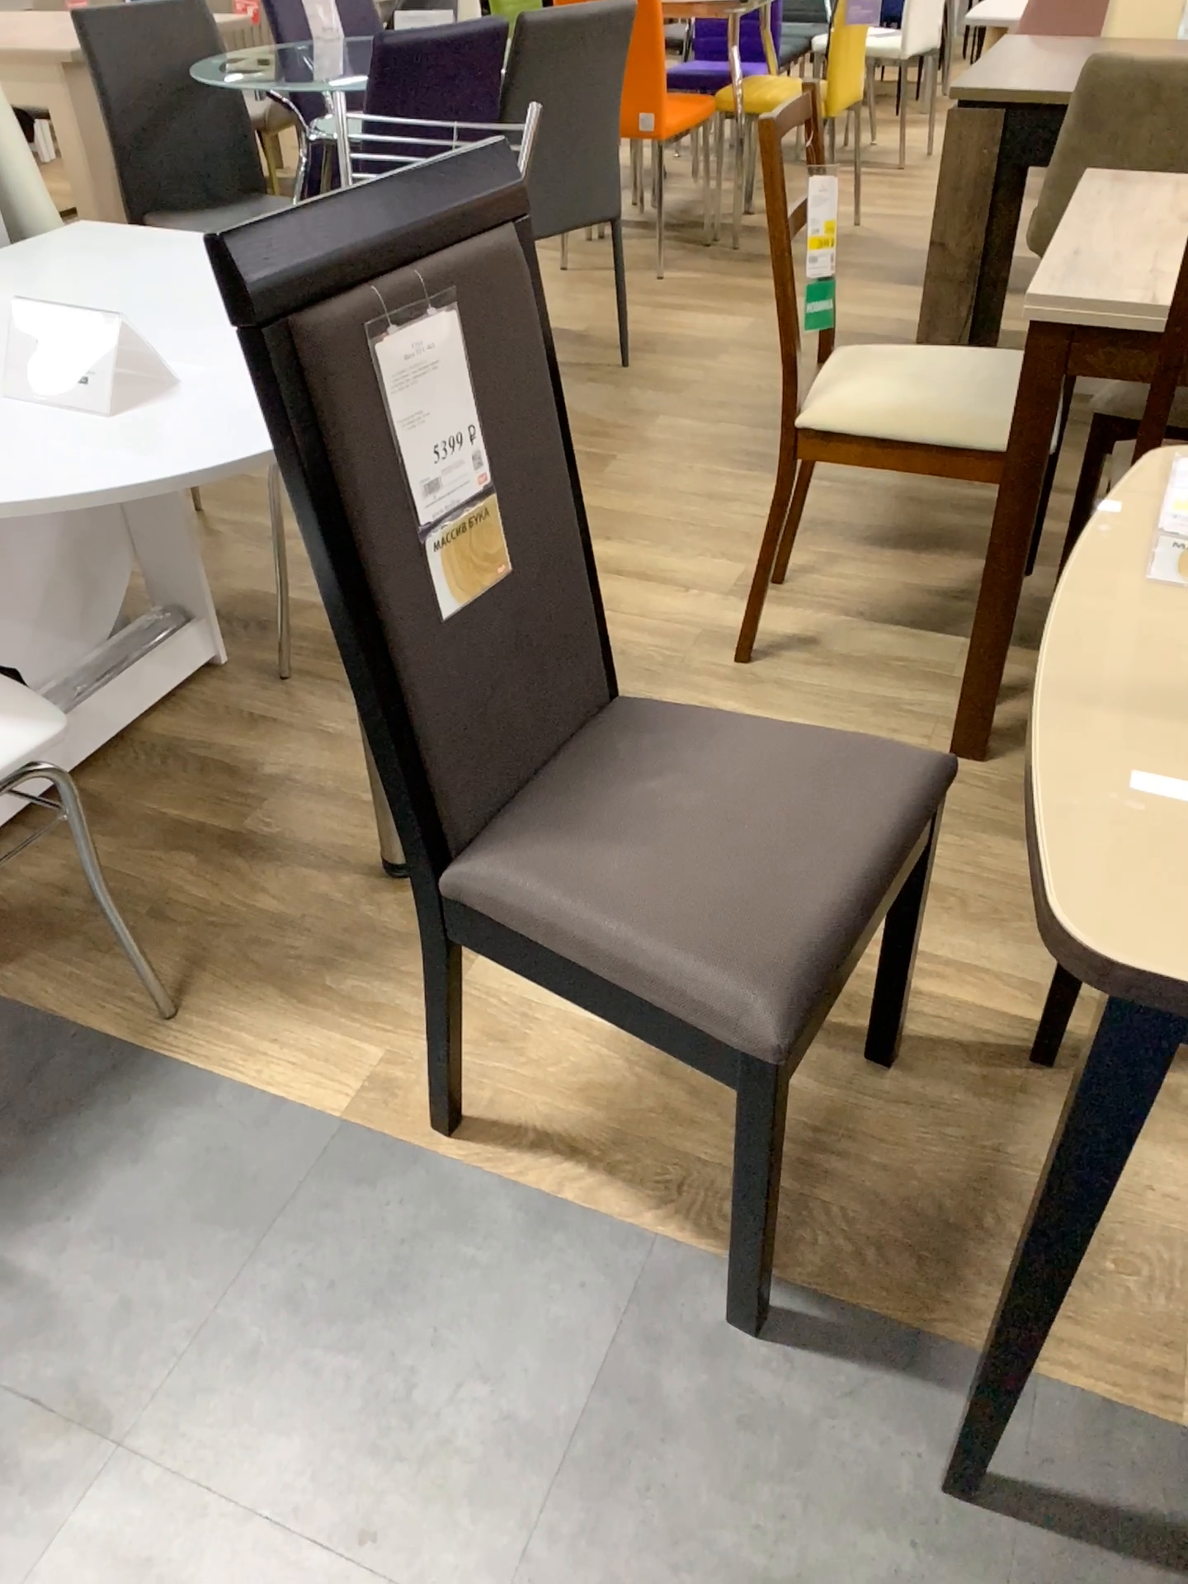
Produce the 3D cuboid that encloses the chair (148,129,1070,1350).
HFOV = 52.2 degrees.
[{"bbox_3d":[0.041,-0.023,1.171,0.501,0.994,0.442,20,43,26],"label":"chair"}]
